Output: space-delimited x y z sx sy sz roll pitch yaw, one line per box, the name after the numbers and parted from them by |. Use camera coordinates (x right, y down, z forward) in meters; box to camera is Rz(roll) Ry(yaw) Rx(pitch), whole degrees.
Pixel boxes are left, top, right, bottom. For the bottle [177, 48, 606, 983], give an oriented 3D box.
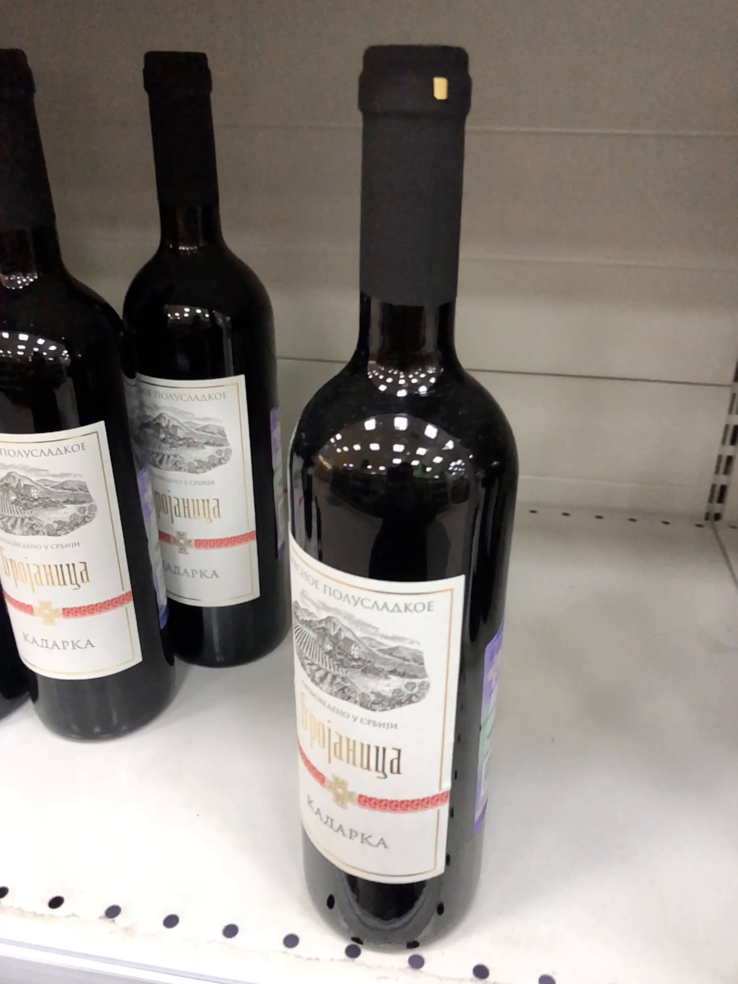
0.007 0.024 0.279 0.080 0.308 0.080 0 27 0 | bottle
